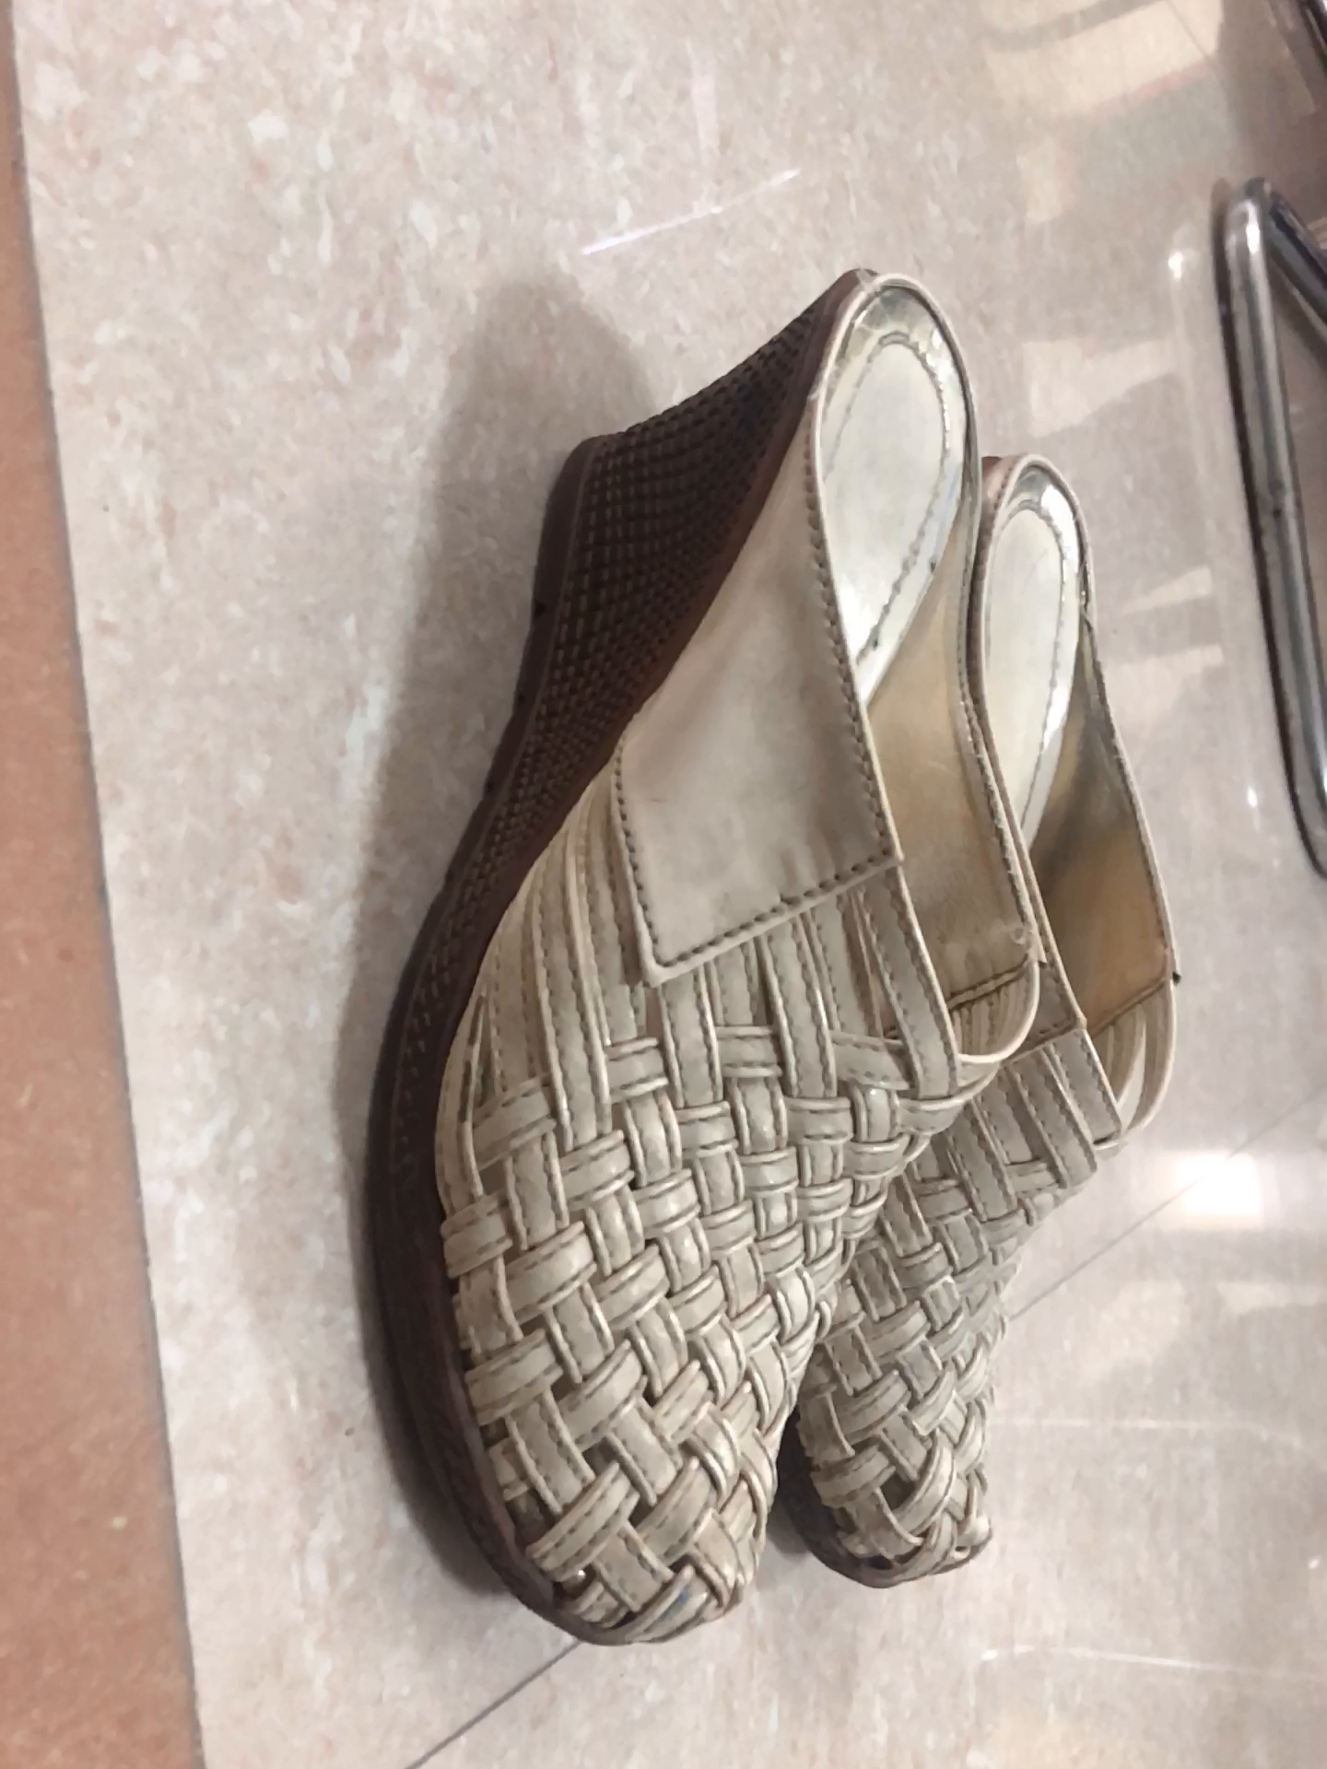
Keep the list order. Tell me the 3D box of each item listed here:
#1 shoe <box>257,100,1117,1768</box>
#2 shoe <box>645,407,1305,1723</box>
[{"bbox_3d":[0.012,0.012,0.248,0.101,0.084,0.225,22,65,-51],"label":"shoe"},{"bbox_3d":[0.067,0.033,0.315,0.101,0.084,0.221,6,78,-54],"label":"shoe"}]
